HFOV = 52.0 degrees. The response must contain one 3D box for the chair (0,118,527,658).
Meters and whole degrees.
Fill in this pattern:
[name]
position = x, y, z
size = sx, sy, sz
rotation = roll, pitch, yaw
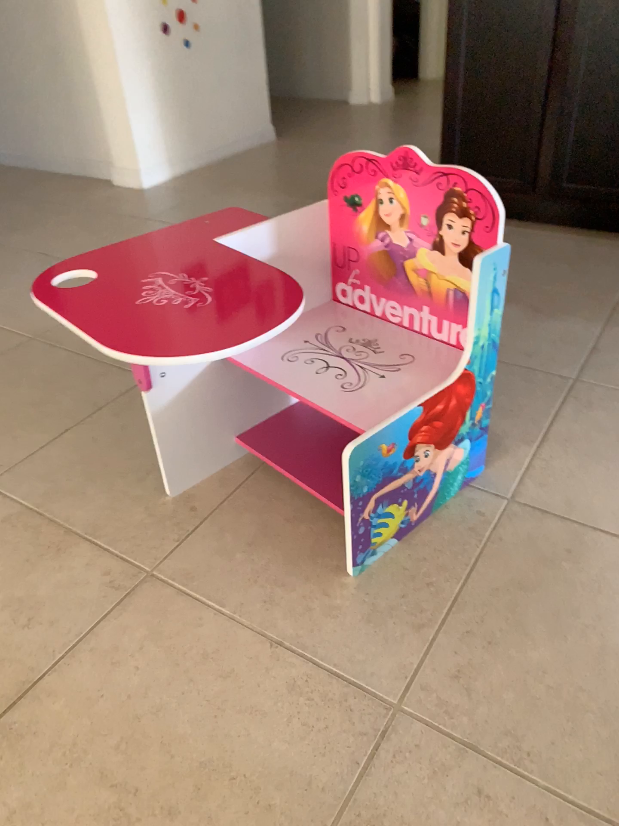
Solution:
[chair]
position = -0.061, -0.111, 1.049
size = 0.534, 0.566, 0.551
rotation = 27, 44, 37
